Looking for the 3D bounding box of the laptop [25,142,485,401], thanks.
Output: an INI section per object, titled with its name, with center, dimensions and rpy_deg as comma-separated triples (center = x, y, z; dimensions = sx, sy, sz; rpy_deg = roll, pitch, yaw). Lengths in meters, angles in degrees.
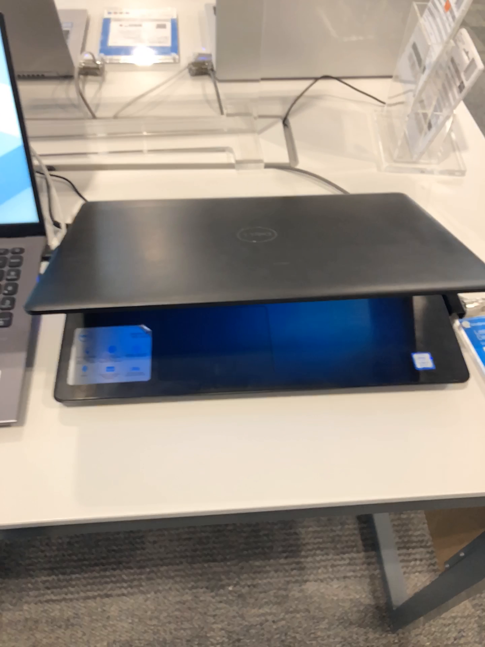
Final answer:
[laptop]
center = 0.014, -0.065, 0.518
dimensions = 0.365, 0.080, 0.245
rpy_deg = -2, 52, -5
